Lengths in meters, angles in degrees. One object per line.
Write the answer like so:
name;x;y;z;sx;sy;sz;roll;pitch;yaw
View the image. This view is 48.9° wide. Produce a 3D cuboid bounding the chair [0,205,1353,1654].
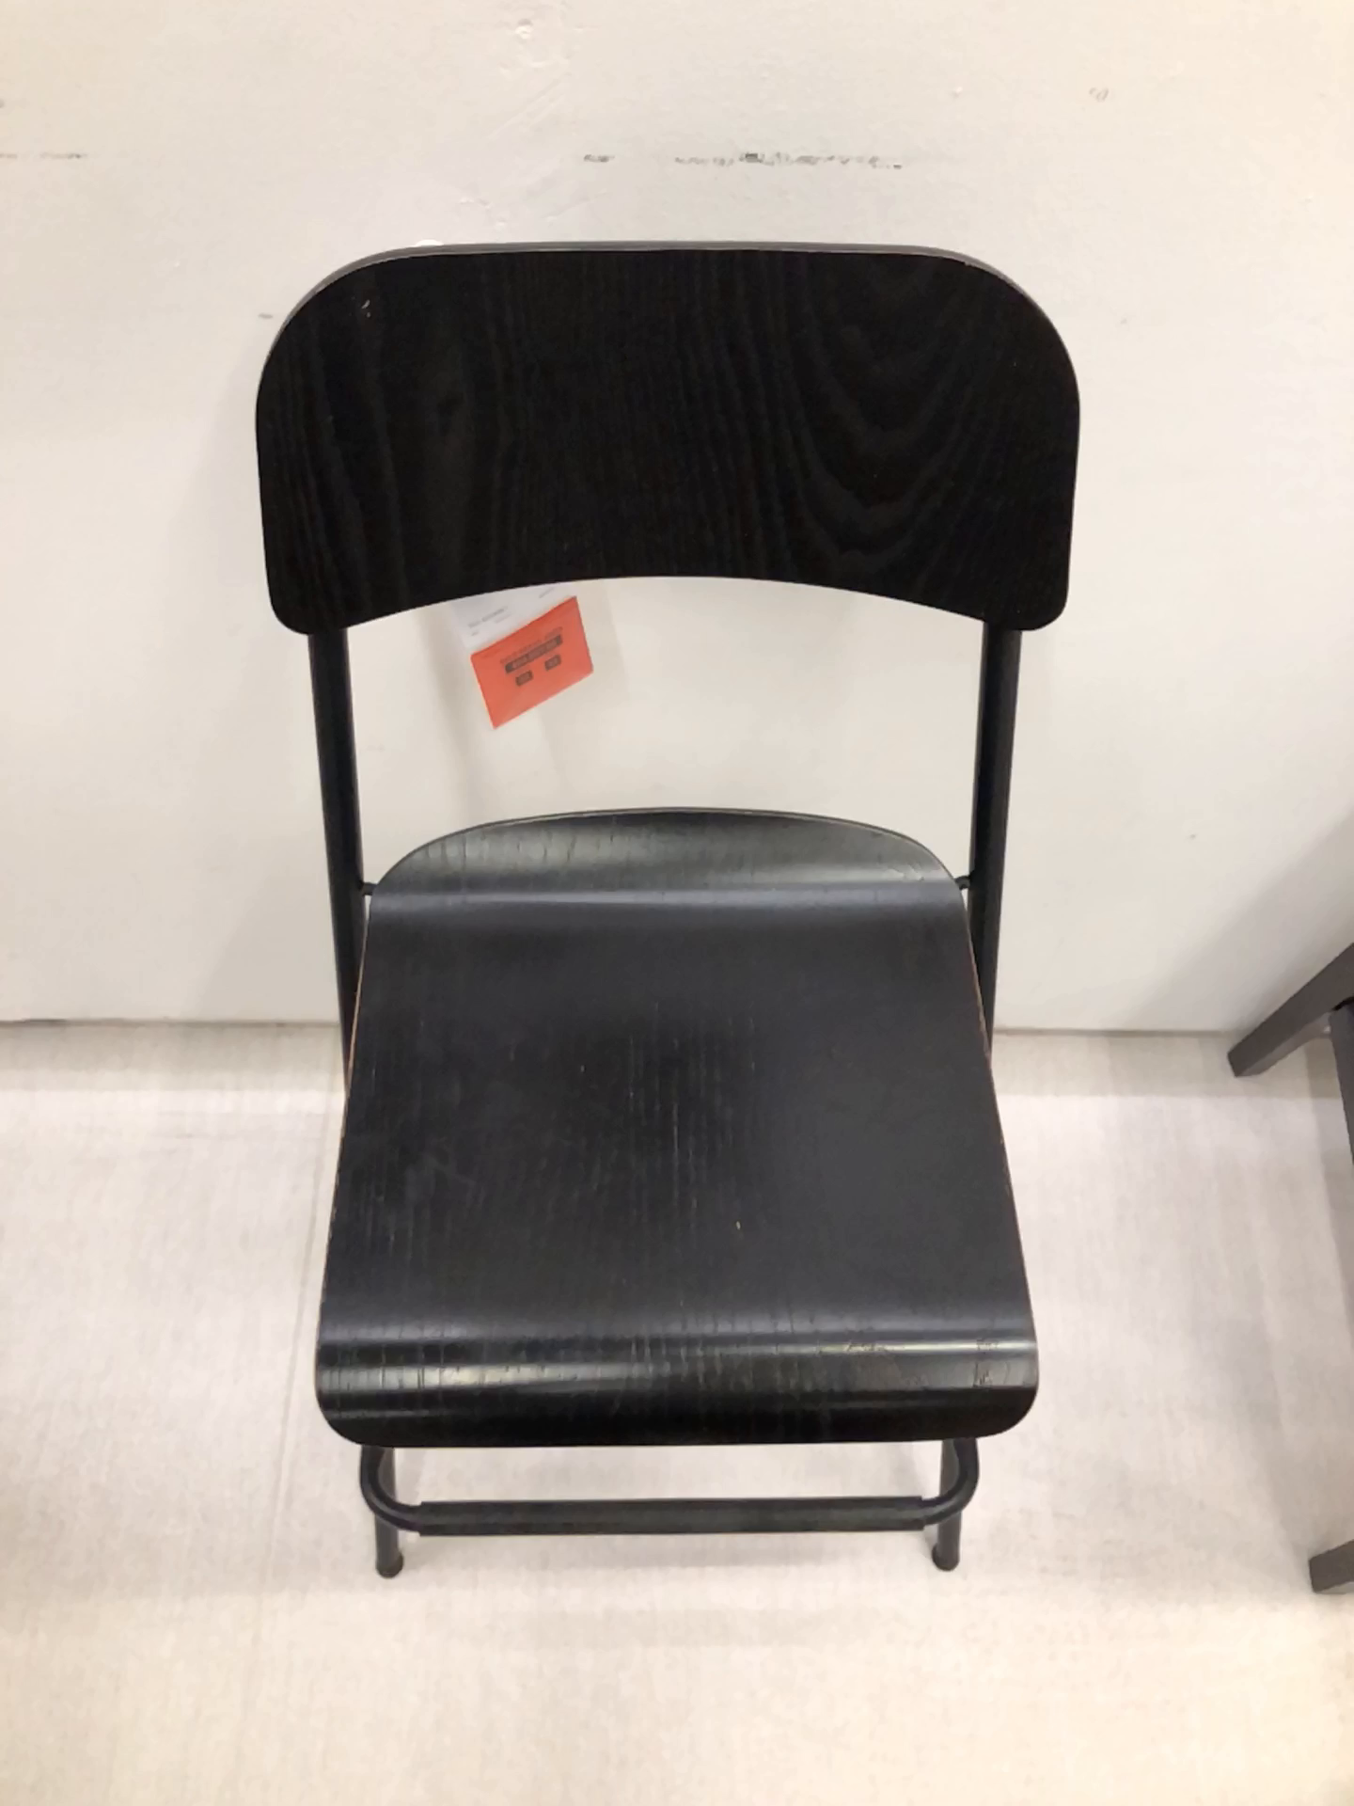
chair;-0.015;0.143;0.874;0.490;0.886;0.472;-1;60;0
